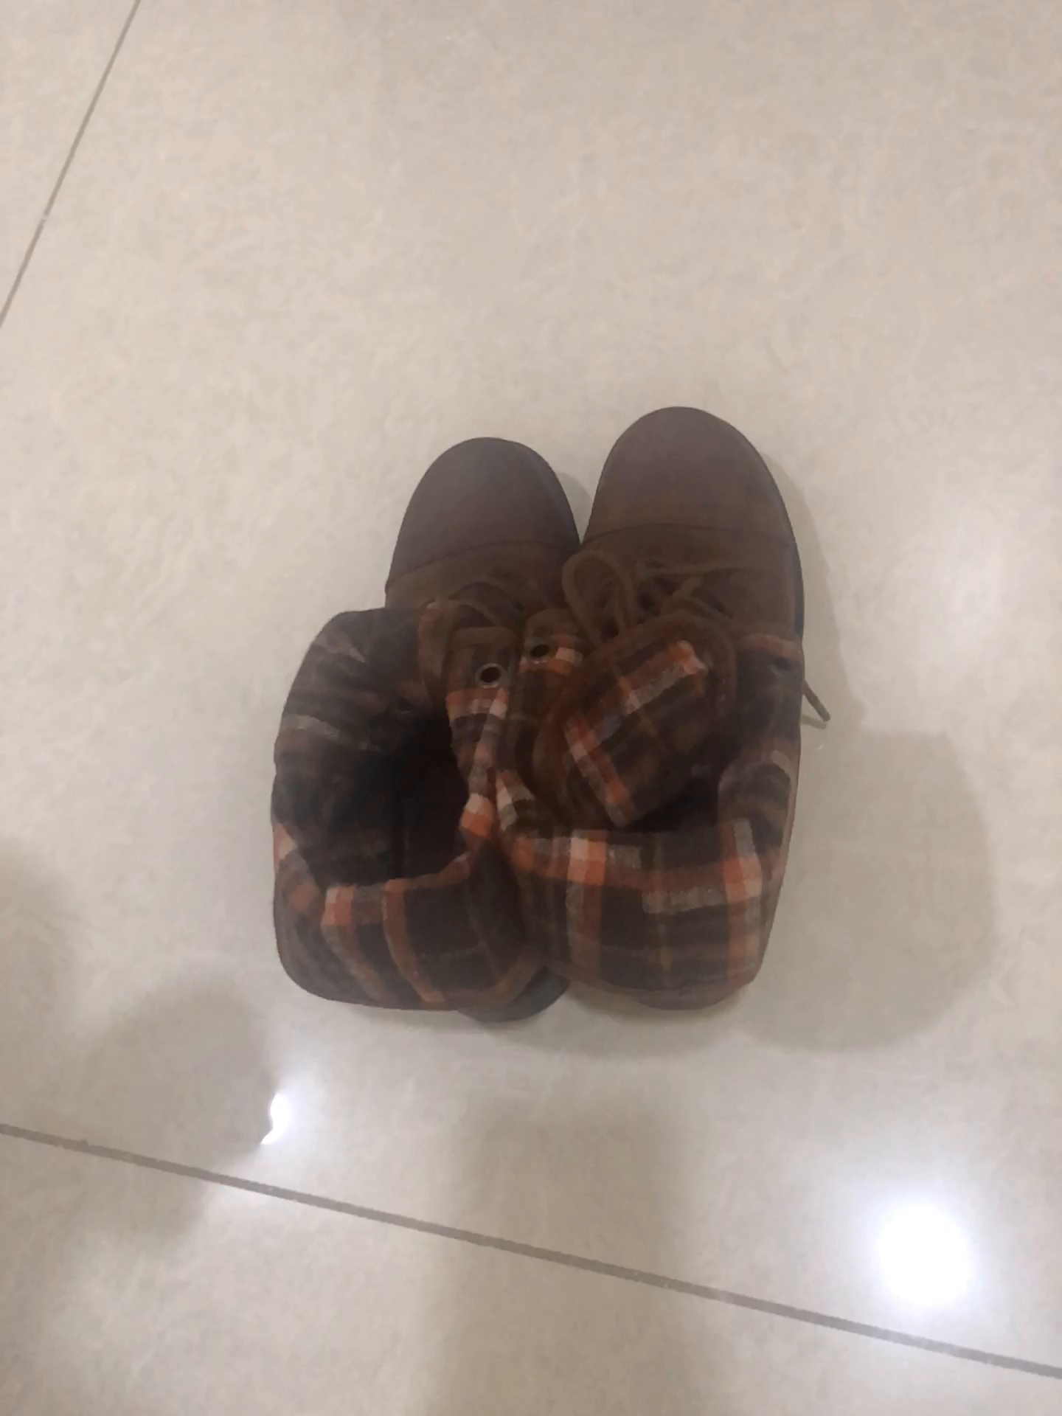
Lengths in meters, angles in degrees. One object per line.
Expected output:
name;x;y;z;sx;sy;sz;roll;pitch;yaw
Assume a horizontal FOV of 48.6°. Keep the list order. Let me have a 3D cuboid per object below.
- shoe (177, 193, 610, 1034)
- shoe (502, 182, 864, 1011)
shoe;-0.045;-0.030;0.462;0.110;0.150;0.280;-7;66;8
shoe;0.055;-0.035;0.443;0.100;0.140;0.270;-4;67;10
